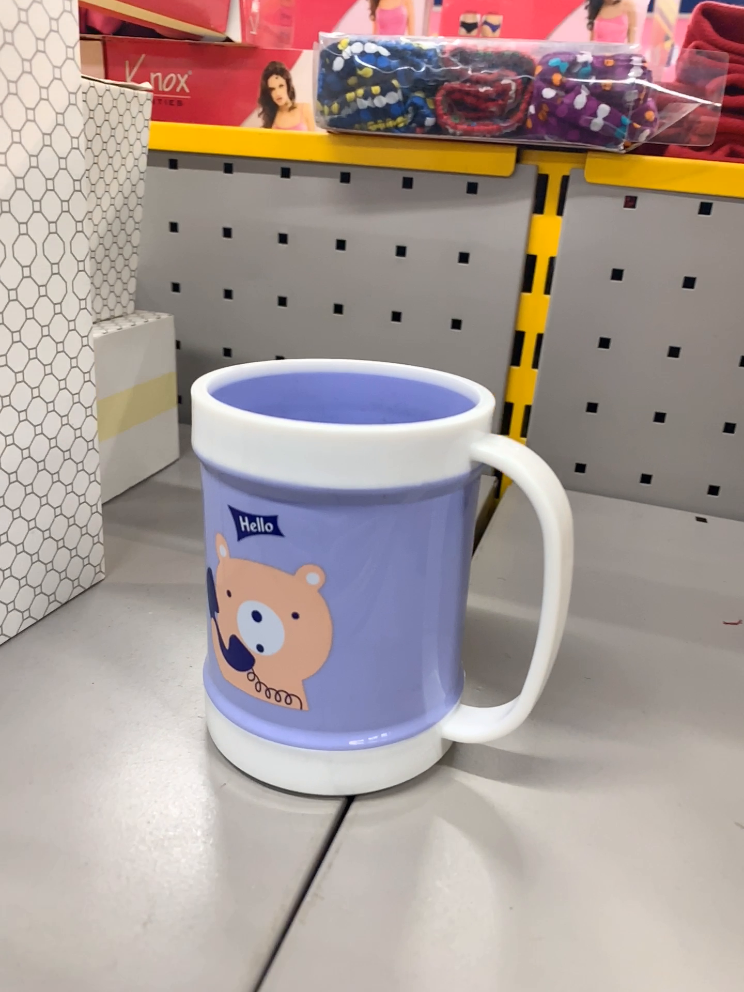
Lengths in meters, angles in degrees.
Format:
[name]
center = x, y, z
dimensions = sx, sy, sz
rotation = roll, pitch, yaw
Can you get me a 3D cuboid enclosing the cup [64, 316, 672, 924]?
[cup]
center = 0.001, 0.016, 0.204
dimensions = 0.120, 0.100, 0.090
rotation = 14, 23, 22
